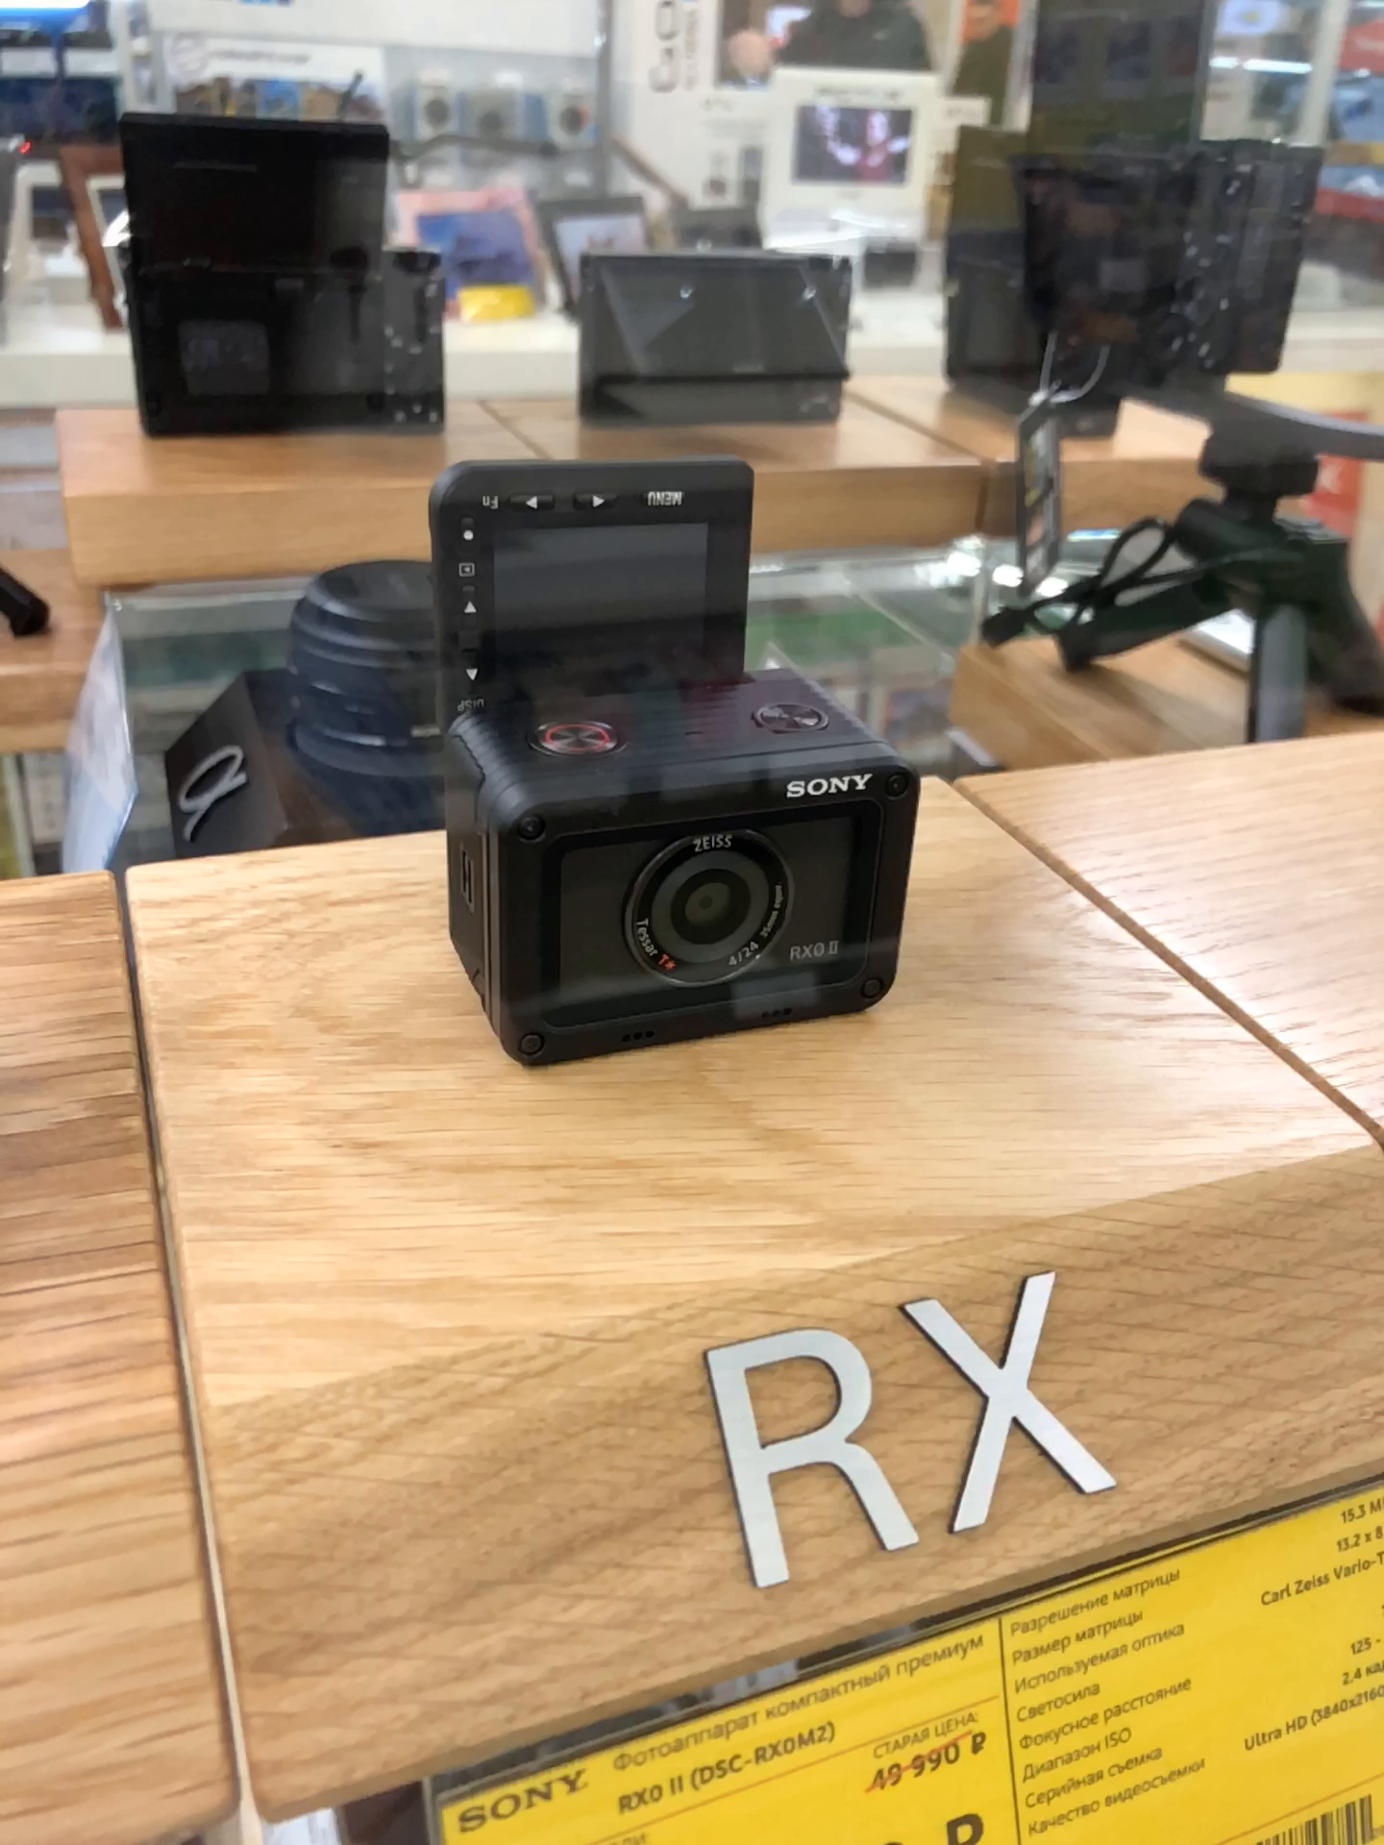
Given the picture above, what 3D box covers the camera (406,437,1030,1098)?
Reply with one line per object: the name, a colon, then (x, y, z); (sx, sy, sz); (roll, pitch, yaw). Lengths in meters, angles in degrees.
camera: (0.000, -0.024, 0.205); (0.062, 0.067, 0.050); (-8, 31, -19)
